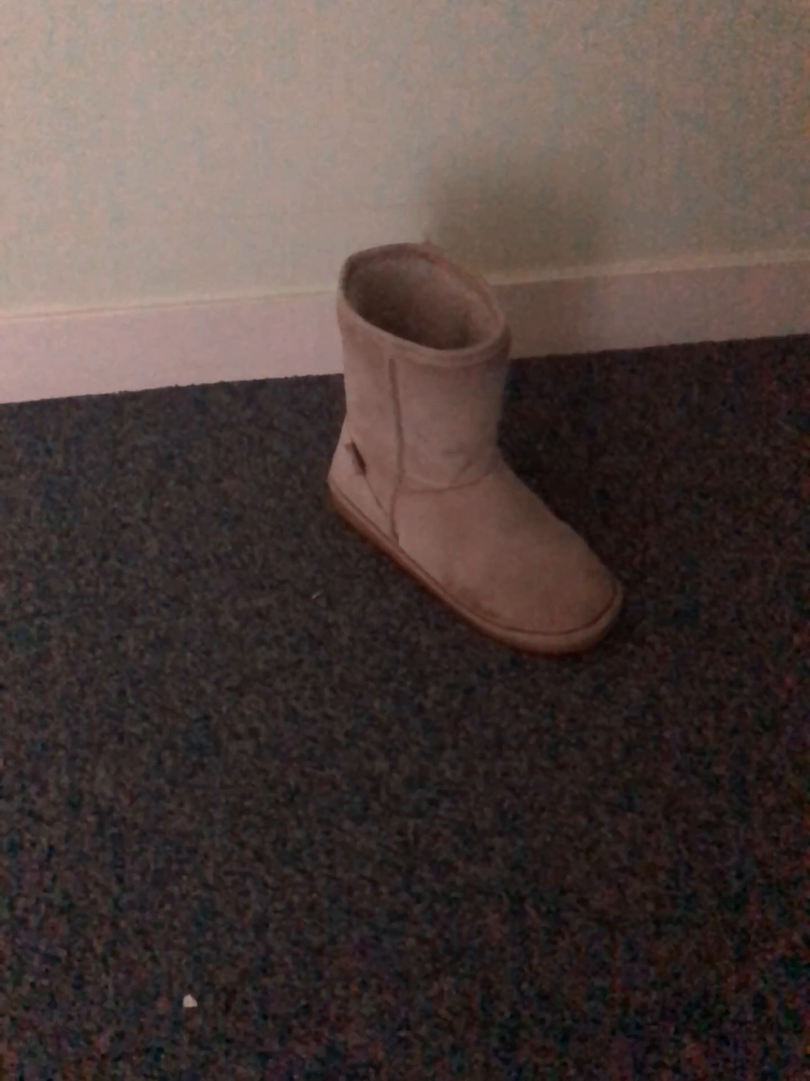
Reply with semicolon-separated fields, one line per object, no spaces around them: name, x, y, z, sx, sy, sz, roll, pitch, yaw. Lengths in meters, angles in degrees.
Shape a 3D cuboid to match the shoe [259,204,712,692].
shoe;0.041;-0.067;0.631;0.120;0.209;0.270;-37;60;-26
